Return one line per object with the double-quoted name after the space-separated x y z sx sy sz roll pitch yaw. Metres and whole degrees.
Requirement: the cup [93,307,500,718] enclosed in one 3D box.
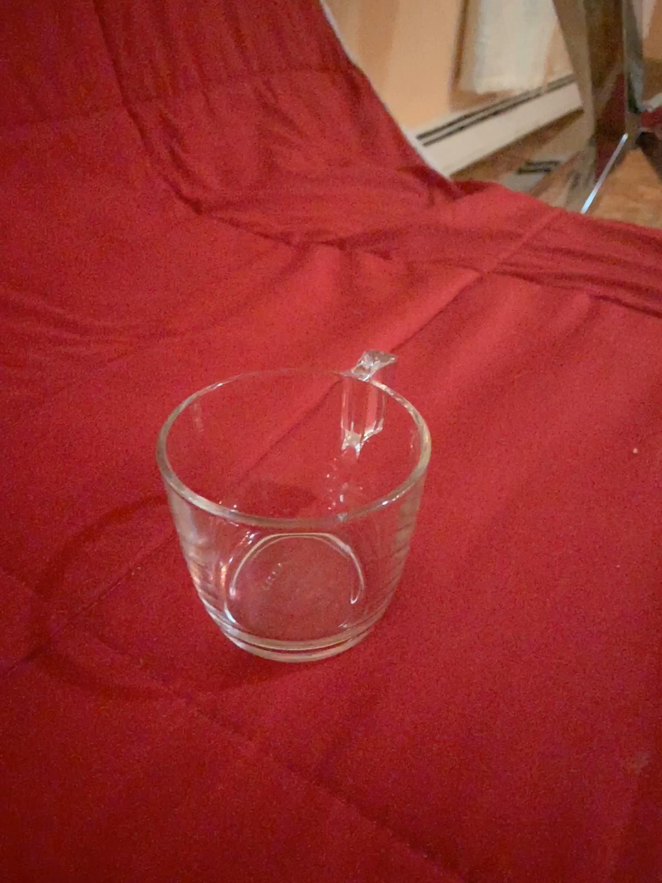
-0.006 0.015 0.252 0.089 0.069 0.117 21 40 22 "cup"
